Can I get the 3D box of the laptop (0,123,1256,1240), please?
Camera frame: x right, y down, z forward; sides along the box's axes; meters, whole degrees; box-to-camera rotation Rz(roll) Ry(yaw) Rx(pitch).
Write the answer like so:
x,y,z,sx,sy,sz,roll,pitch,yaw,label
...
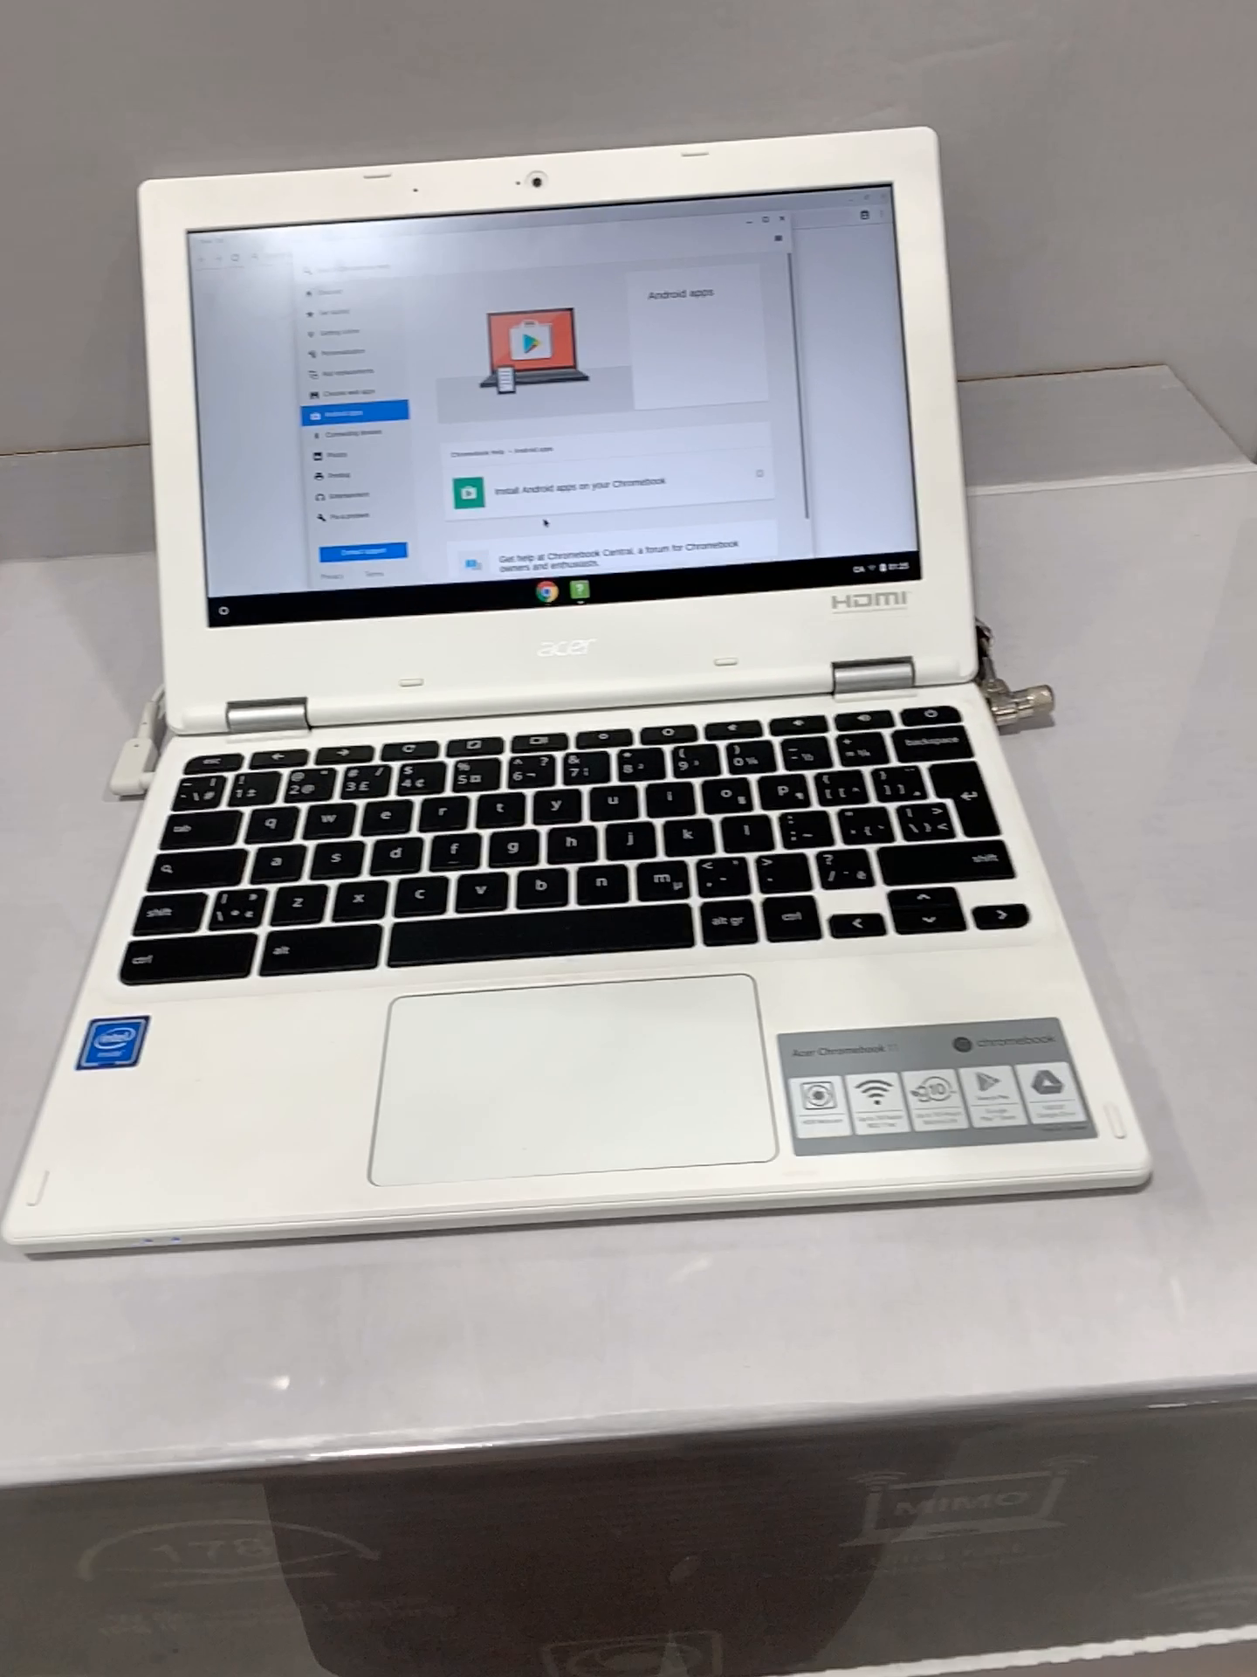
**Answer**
x,y,z,sx,sy,sz,roll,pitch,yaw,label
-0.022,-0.075,0.385,0.282,0.132,0.330,-3,46,1,laptop
